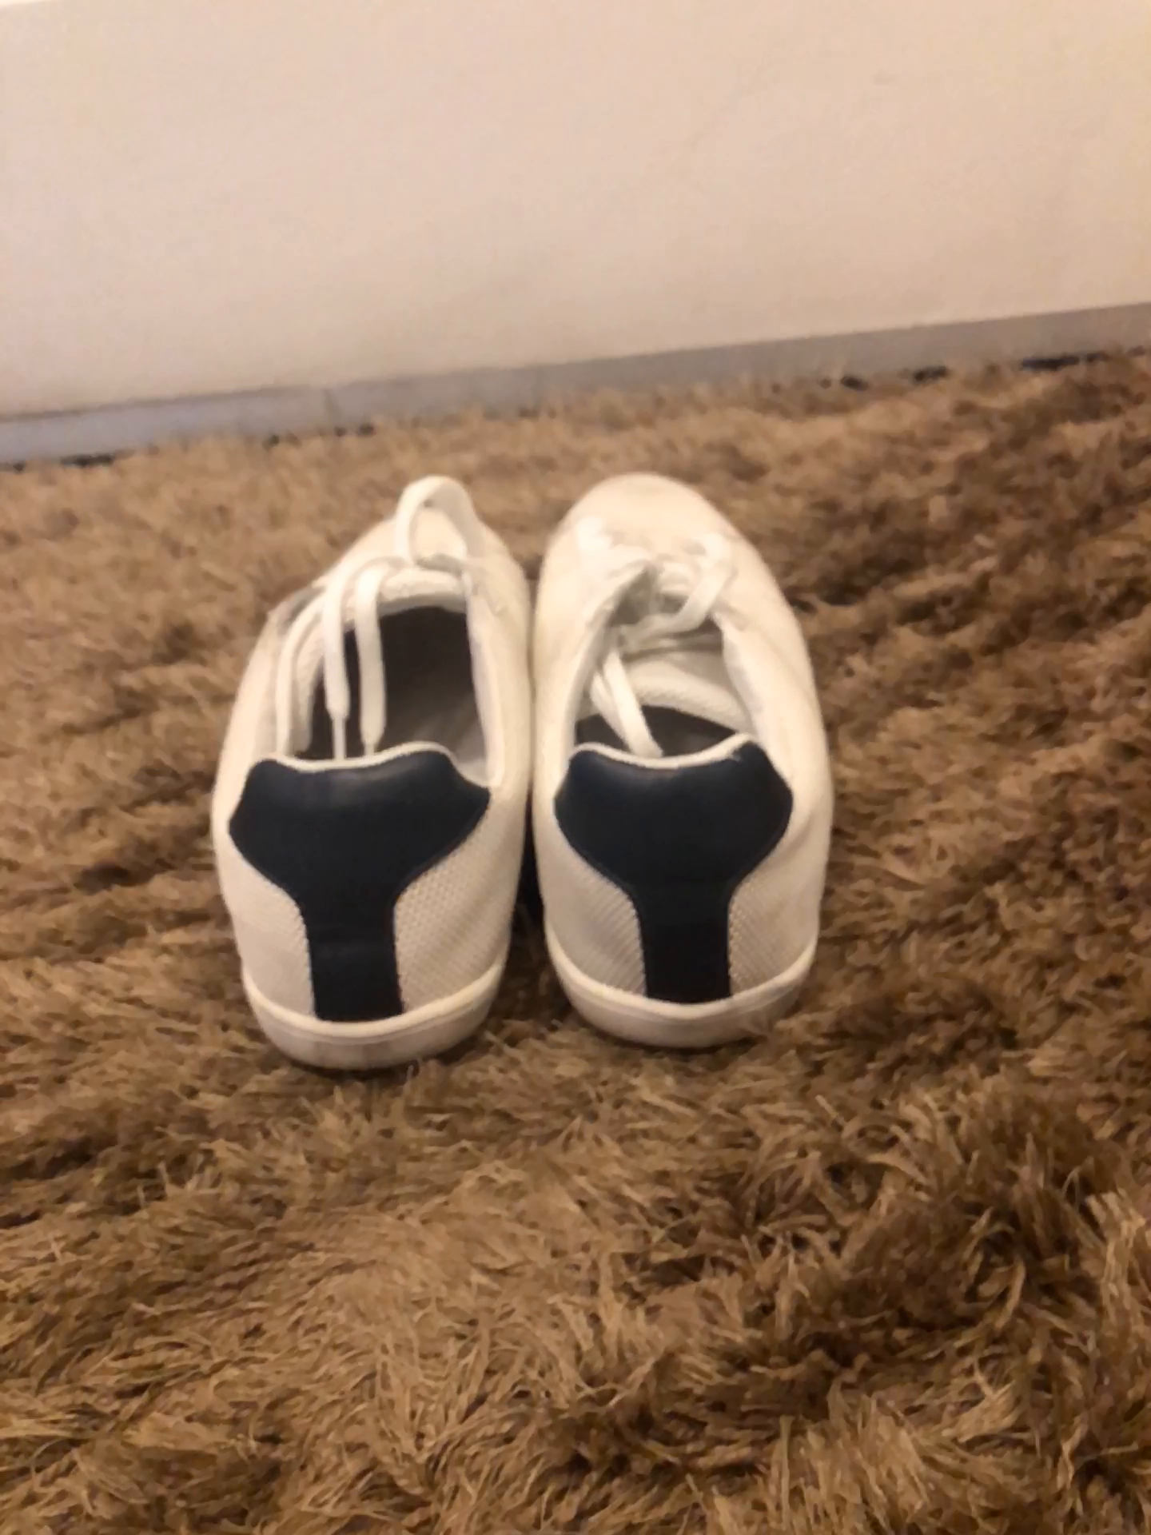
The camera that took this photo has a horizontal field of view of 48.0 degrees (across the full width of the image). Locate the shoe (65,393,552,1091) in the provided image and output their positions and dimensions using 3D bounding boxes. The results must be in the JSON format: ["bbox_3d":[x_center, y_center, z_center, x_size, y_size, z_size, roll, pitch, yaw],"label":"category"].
[{"bbox_3d":[-0.062,-0.031,0.414,0.100,0.079,0.265,-5,36,2],"label":"shoe"}]

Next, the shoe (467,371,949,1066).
[{"bbox_3d":[0.031,-0.038,0.410,0.104,0.079,0.265,-4,36,3],"label":"shoe"}]
